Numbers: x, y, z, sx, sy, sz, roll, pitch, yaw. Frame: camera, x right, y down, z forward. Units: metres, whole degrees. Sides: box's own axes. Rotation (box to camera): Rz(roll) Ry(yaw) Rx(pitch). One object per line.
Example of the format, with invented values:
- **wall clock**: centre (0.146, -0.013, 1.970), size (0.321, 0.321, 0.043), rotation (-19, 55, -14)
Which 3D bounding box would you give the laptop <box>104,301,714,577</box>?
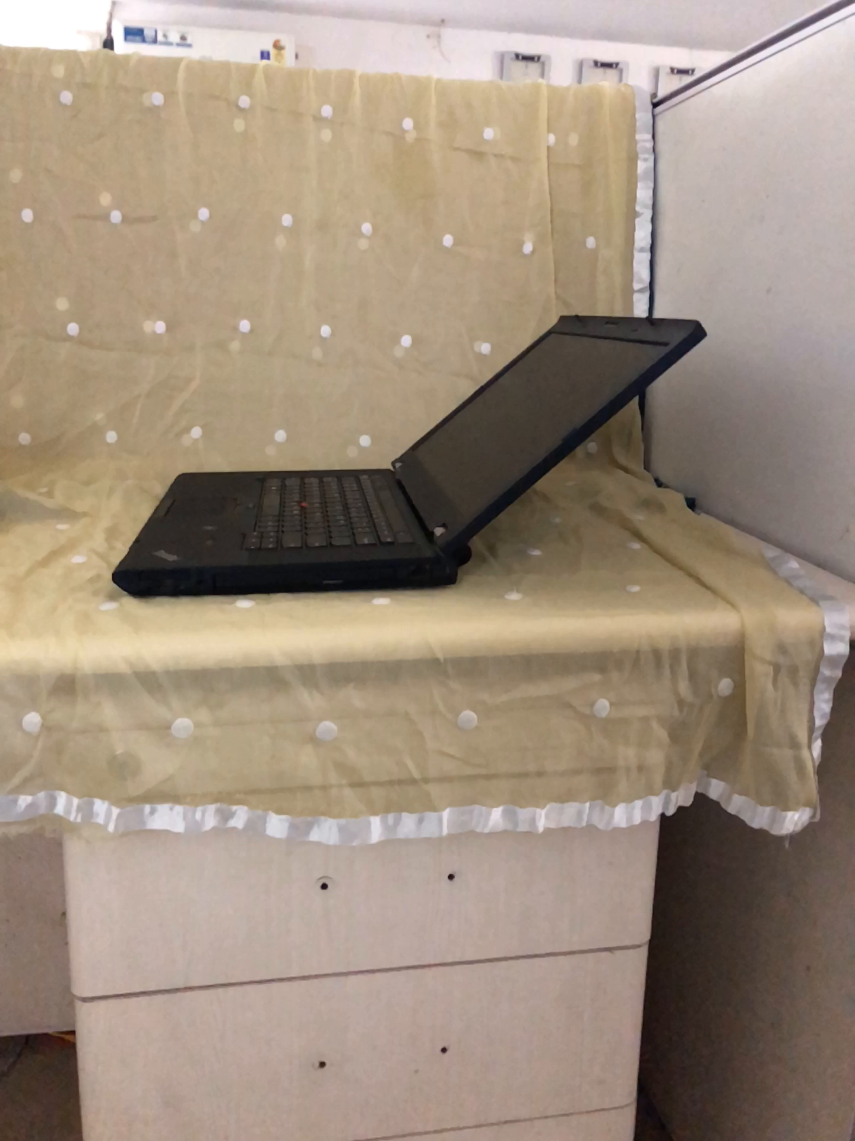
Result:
- **laptop**: centre (-0.031, -0.141, 0.831), size (0.424, 0.156, 0.349), rotation (-5, 17, -7)
